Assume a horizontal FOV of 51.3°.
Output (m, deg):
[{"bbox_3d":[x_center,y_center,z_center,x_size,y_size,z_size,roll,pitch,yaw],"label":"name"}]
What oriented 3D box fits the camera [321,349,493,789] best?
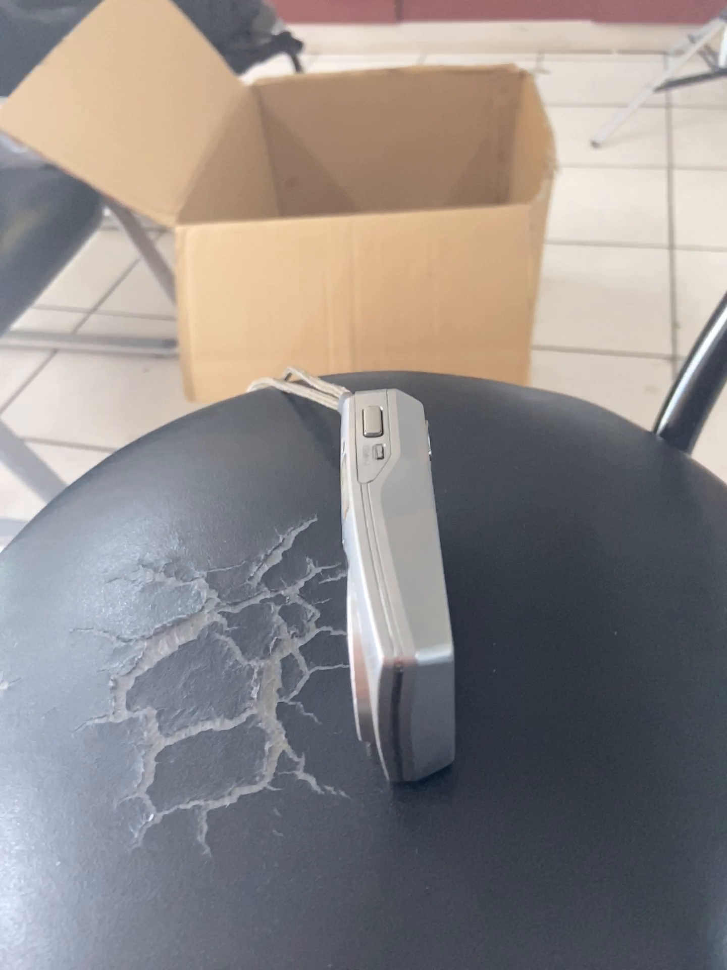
[{"bbox_3d":[0.009,0.018,0.205,0.030,0.060,0.101,-7,45,0],"label":"camera"}]
